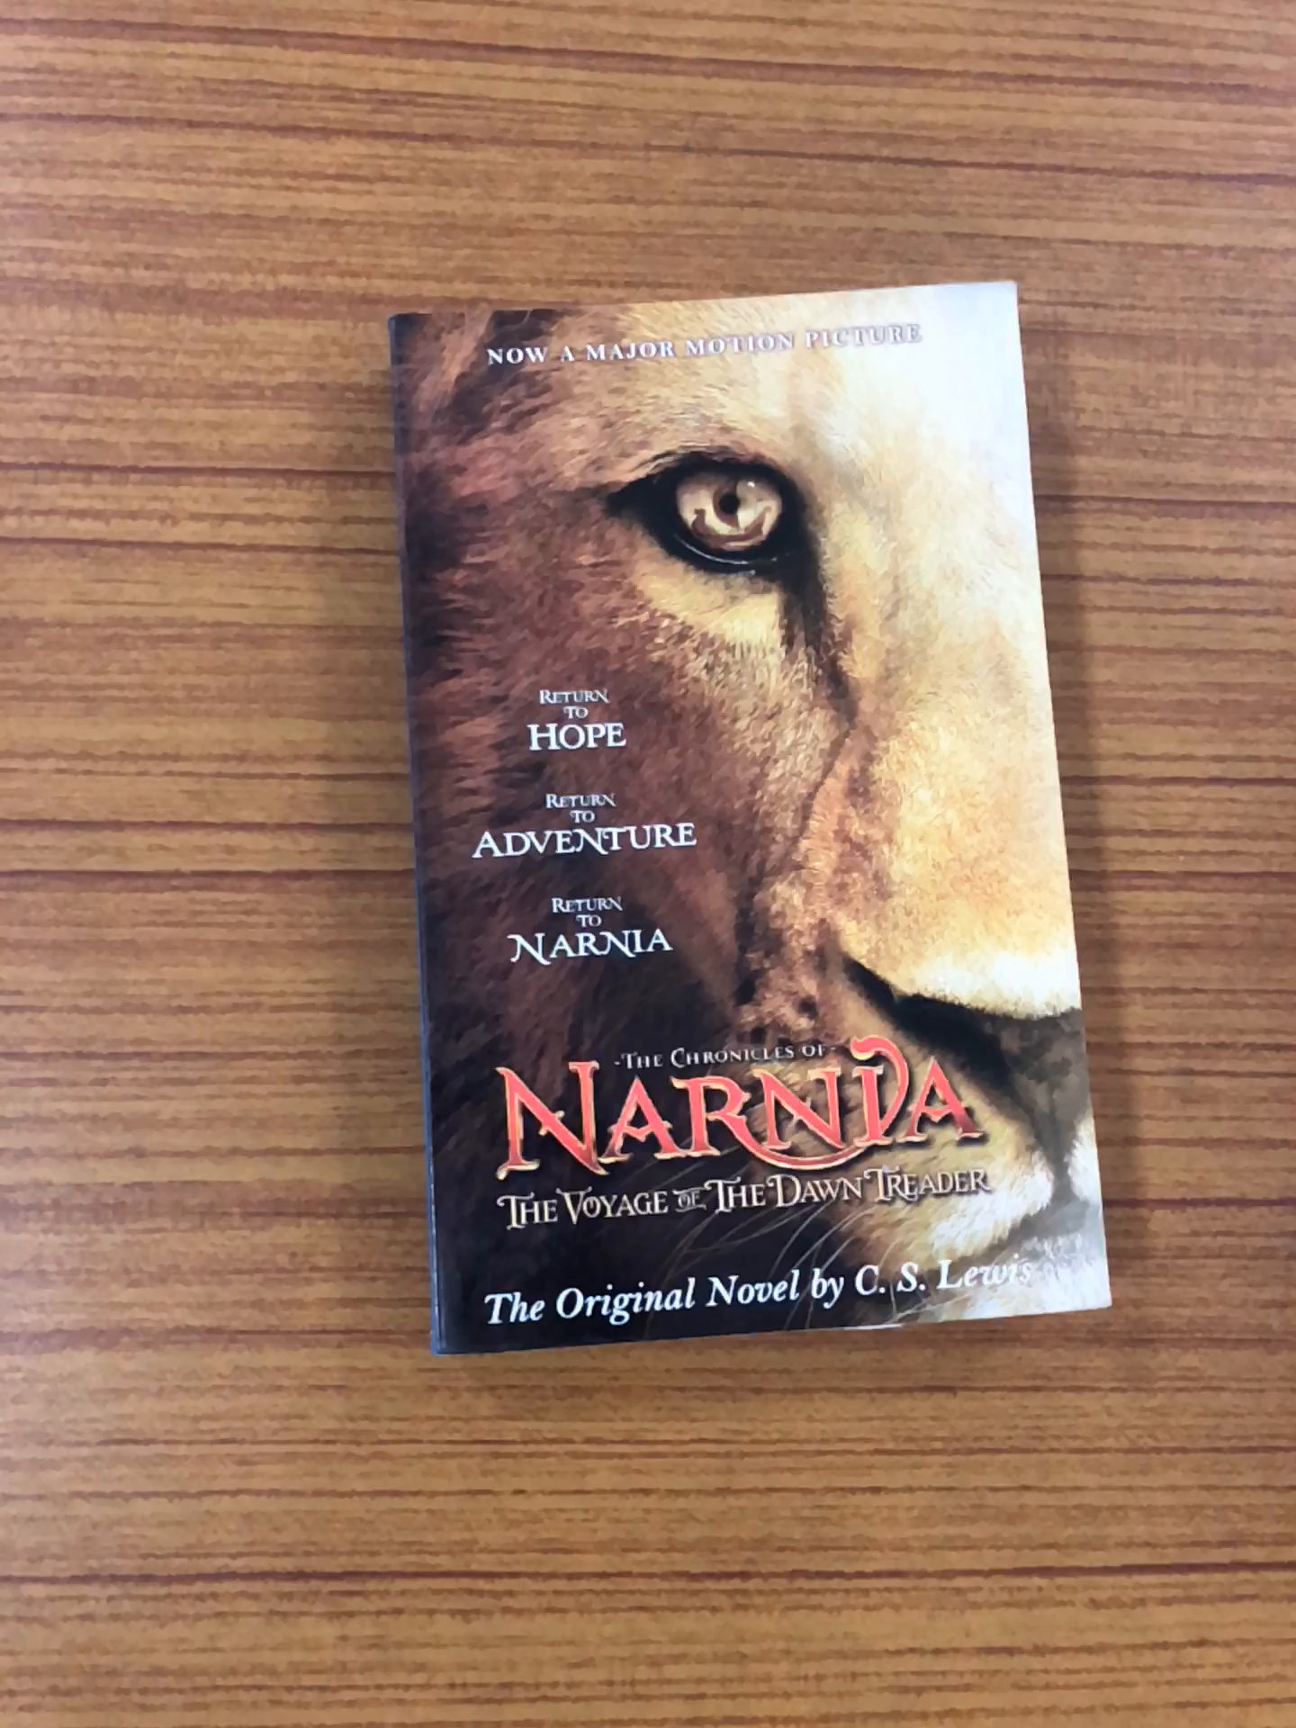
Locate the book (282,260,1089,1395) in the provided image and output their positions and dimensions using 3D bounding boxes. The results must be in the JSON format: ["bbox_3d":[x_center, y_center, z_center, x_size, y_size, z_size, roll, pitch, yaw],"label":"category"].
[{"bbox_3d":[0.003,-0.010,0.249,0.120,0.030,0.180,-3,83,-4],"label":"book"}]
